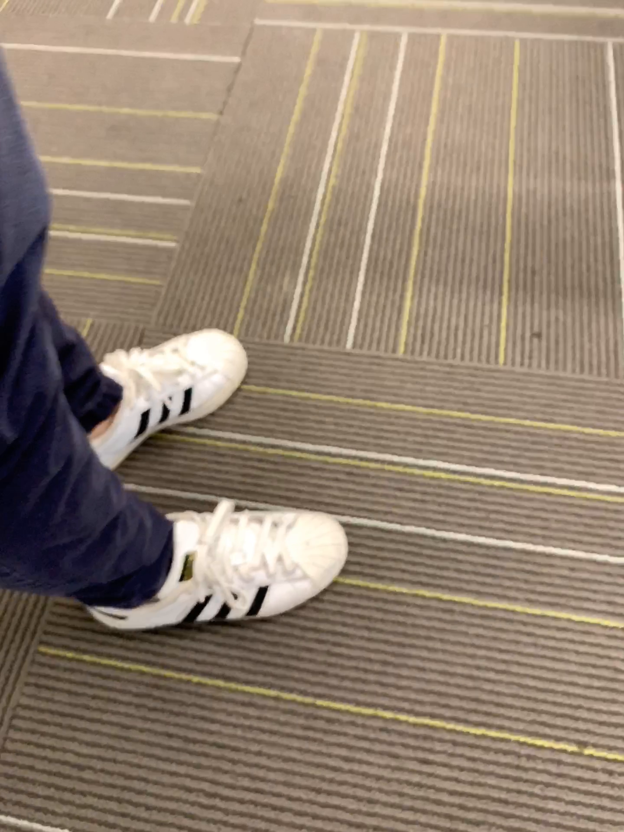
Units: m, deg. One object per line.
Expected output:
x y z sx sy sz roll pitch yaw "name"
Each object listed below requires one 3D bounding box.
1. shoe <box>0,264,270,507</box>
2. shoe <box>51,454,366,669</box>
-0.190 -0.034 0.698 0.262 0.104 0.108 -32 64 -13 "shoe"
-0.090 0.137 0.606 0.258 0.104 0.106 -15 62 -4 "shoe"
